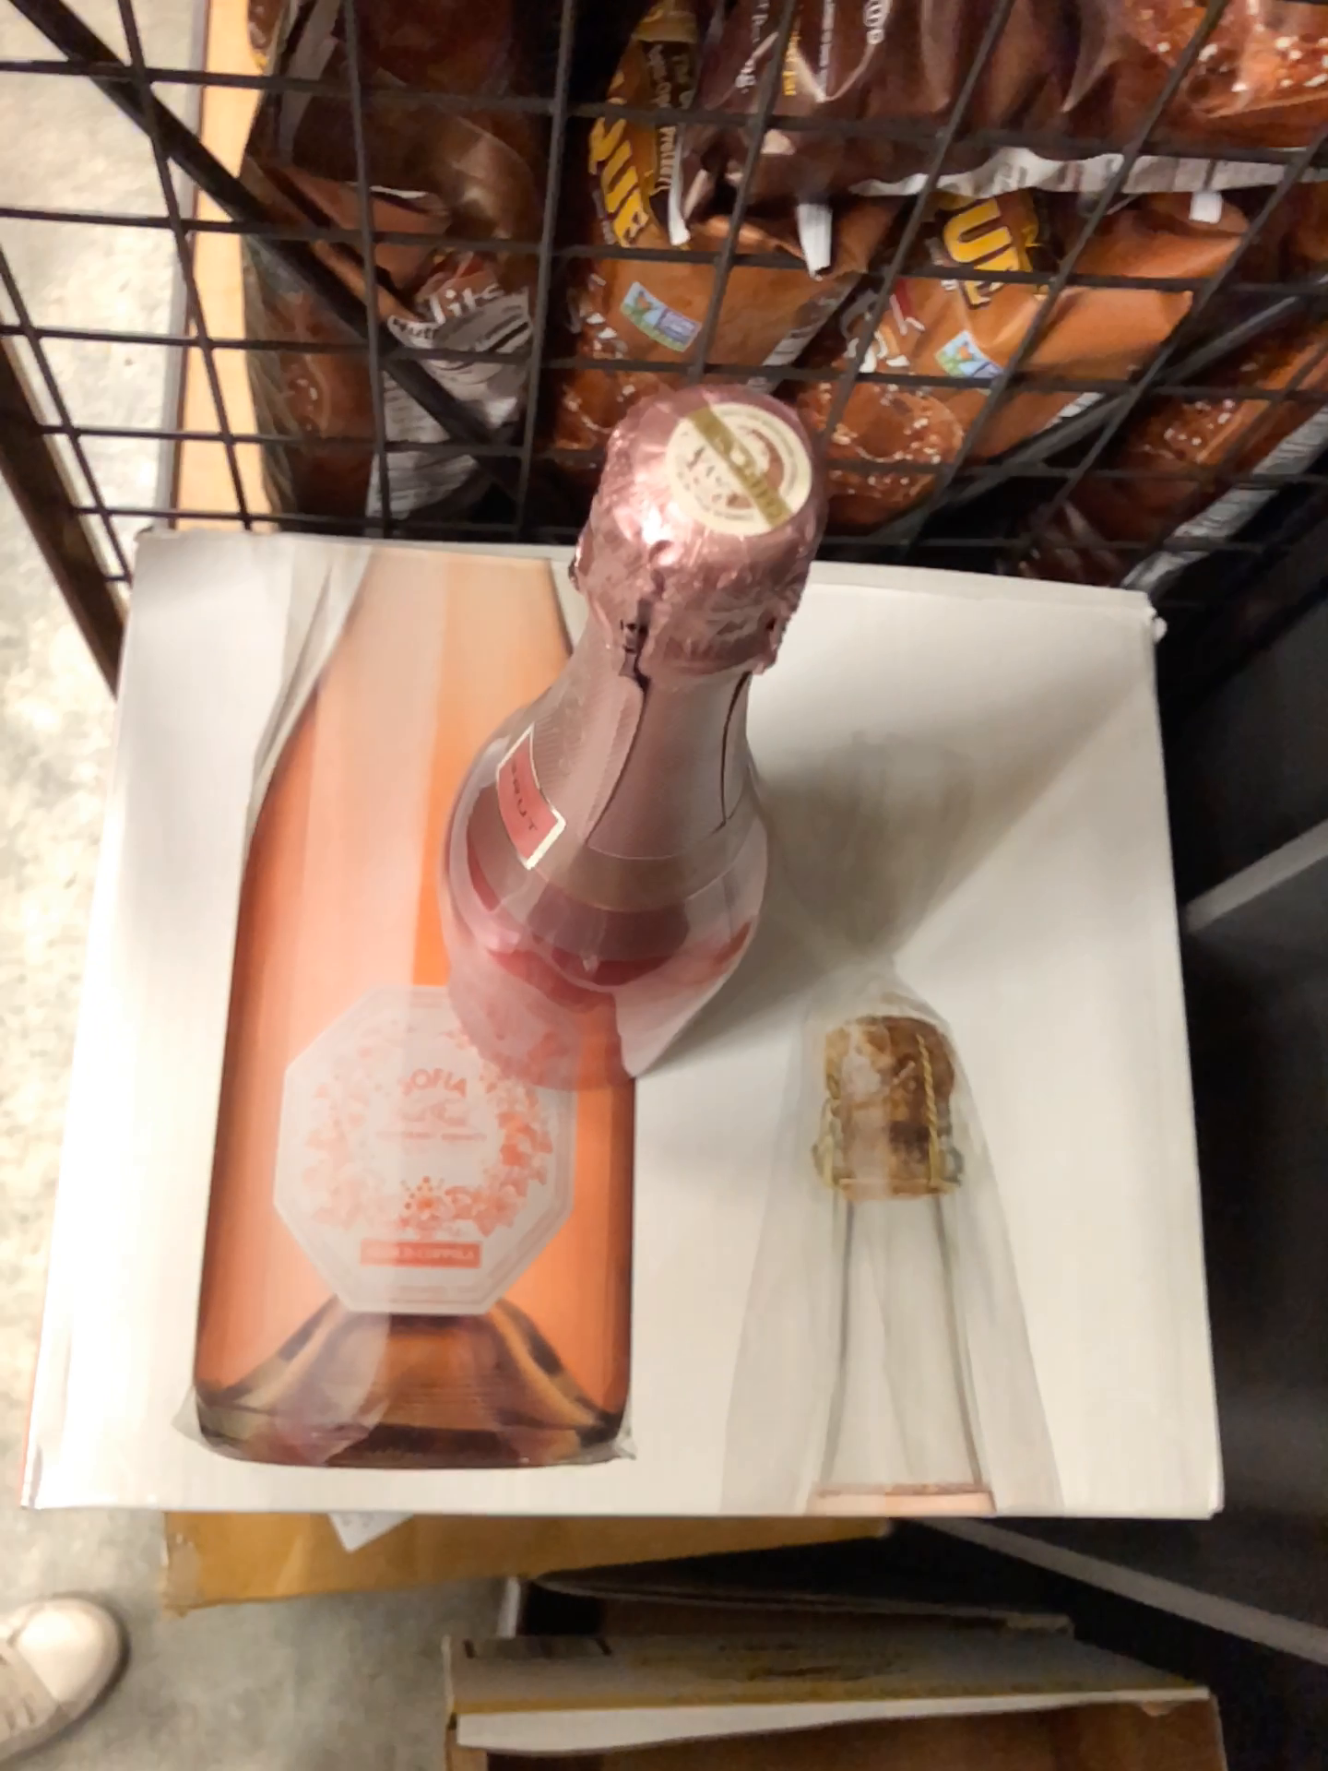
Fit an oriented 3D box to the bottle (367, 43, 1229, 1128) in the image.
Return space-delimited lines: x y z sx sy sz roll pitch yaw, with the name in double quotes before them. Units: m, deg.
"bottle" -0.004 -0.024 0.342 0.090 0.310 0.090 3 72 -8
